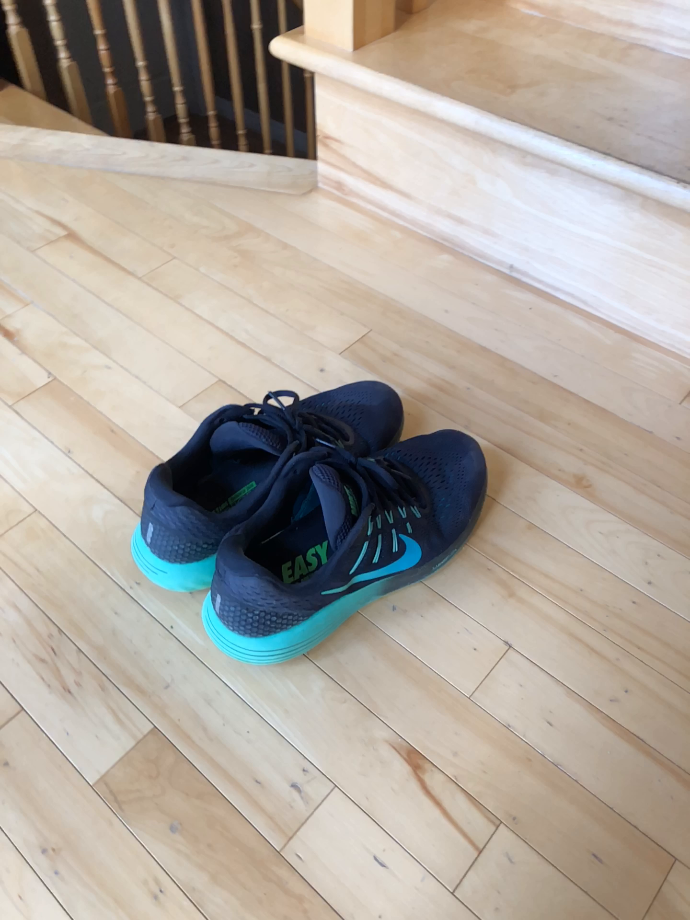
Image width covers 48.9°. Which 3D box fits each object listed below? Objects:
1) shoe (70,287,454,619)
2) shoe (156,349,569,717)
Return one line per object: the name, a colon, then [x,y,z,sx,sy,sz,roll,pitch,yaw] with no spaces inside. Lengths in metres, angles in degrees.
shoe: [-0.056,-0.019,0.637,0.291,0.100,0.120,-34,57,-26]
shoe: [0.021,0.043,0.587,0.290,0.100,0.120,-32,56,-25]
